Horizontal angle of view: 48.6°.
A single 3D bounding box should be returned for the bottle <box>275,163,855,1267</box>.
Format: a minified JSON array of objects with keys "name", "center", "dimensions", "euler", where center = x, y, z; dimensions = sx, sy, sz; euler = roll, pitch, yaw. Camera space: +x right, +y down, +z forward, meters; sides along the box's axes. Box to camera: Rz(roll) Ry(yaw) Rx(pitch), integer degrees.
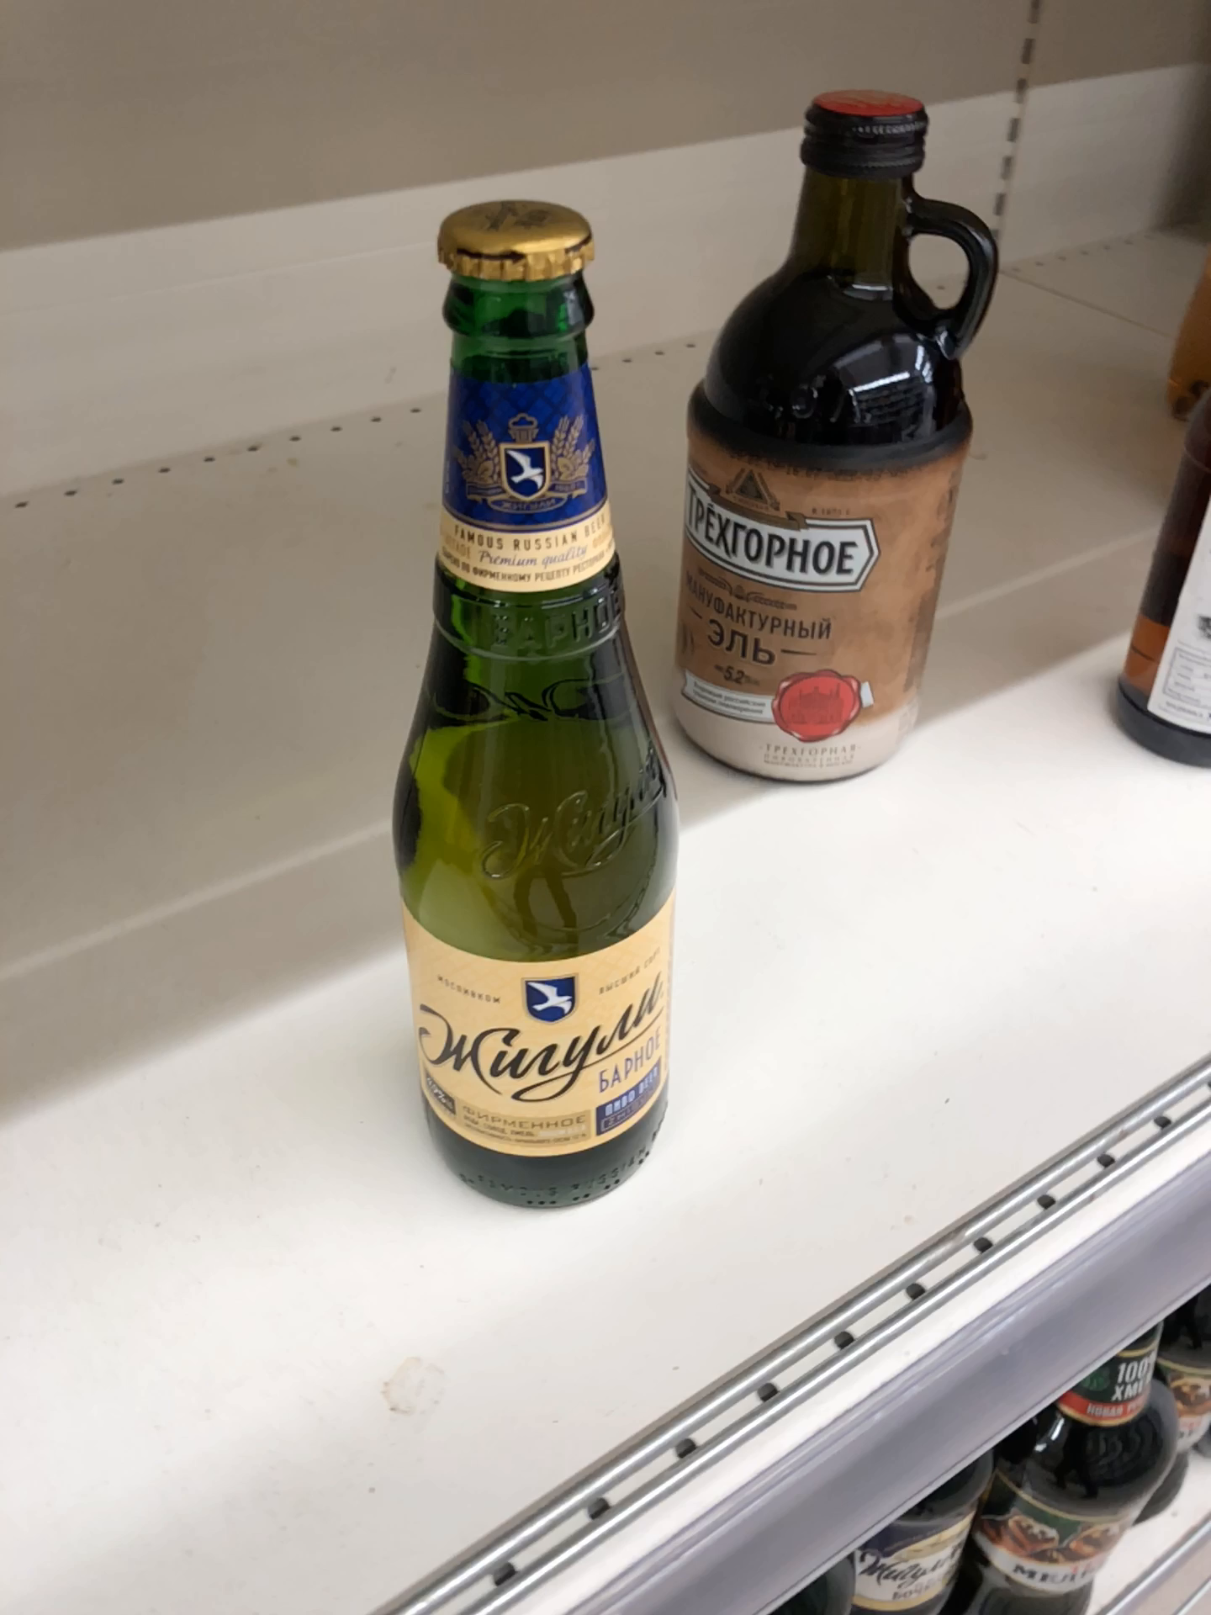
[{"name":"bottle","center":[-0.013,-0.005,0.314],"dimensions":[0.090,0.249,0.080],"euler":[-6,39,-8]}]
